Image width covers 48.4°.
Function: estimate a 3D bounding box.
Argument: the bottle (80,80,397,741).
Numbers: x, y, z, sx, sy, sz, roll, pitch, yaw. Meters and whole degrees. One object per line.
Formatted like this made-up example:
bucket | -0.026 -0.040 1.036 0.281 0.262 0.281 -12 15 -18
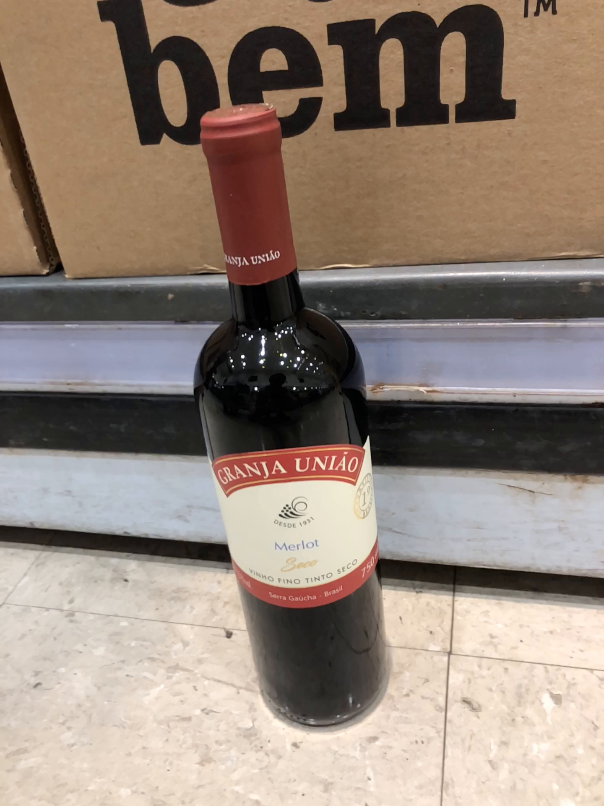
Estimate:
bottle | -0.008 0.025 0.307 0.080 0.298 0.081 -6 30 3
